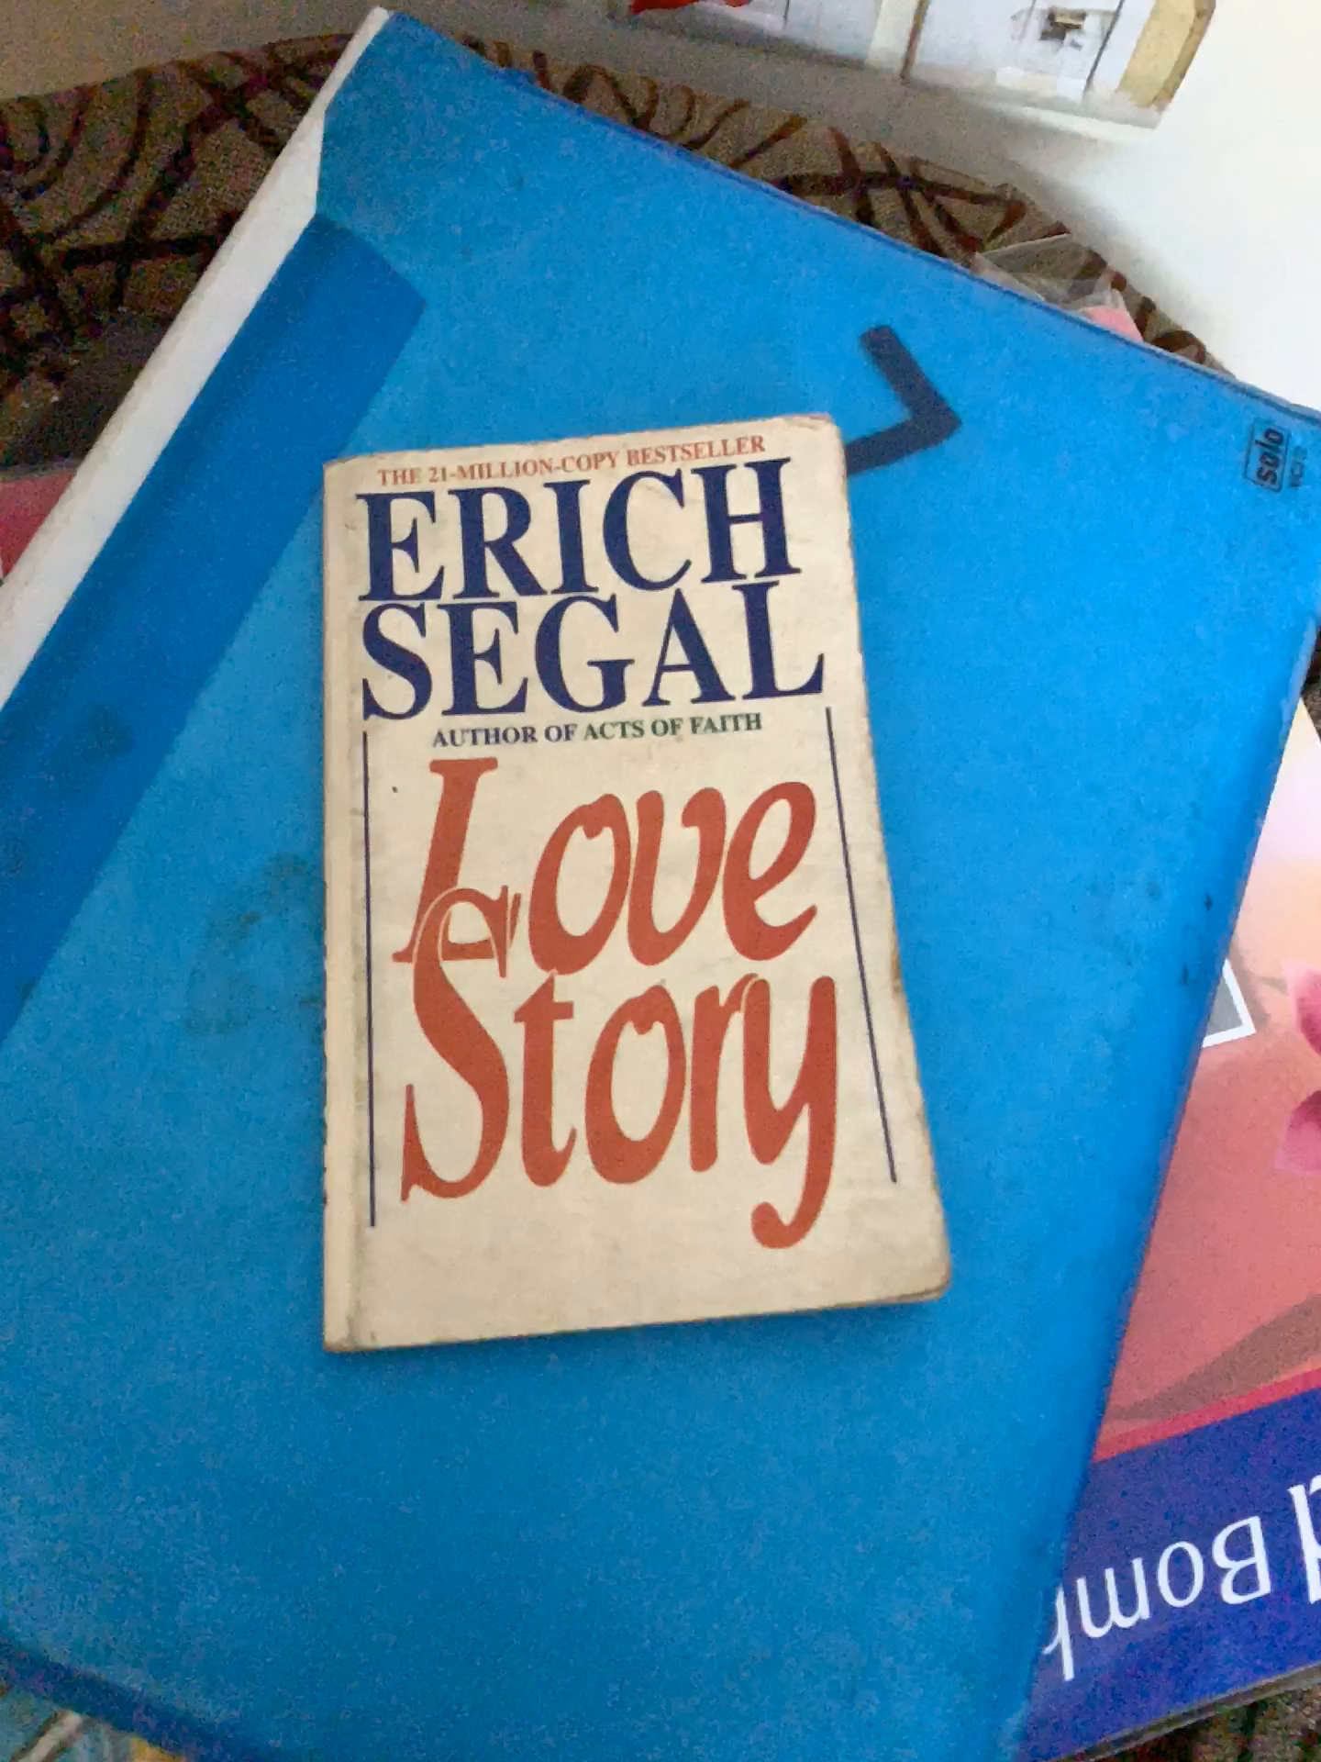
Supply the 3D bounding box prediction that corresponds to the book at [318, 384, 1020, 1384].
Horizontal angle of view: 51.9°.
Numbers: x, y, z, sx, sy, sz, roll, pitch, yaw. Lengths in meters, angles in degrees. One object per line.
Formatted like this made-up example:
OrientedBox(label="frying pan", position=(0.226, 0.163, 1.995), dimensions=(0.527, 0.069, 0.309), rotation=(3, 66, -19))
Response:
OrientedBox(label="book", position=(-0.005, -0.009, 0.251), dimensions=(0.110, 0.020, 0.180), rotation=(-3, 72, -6))
